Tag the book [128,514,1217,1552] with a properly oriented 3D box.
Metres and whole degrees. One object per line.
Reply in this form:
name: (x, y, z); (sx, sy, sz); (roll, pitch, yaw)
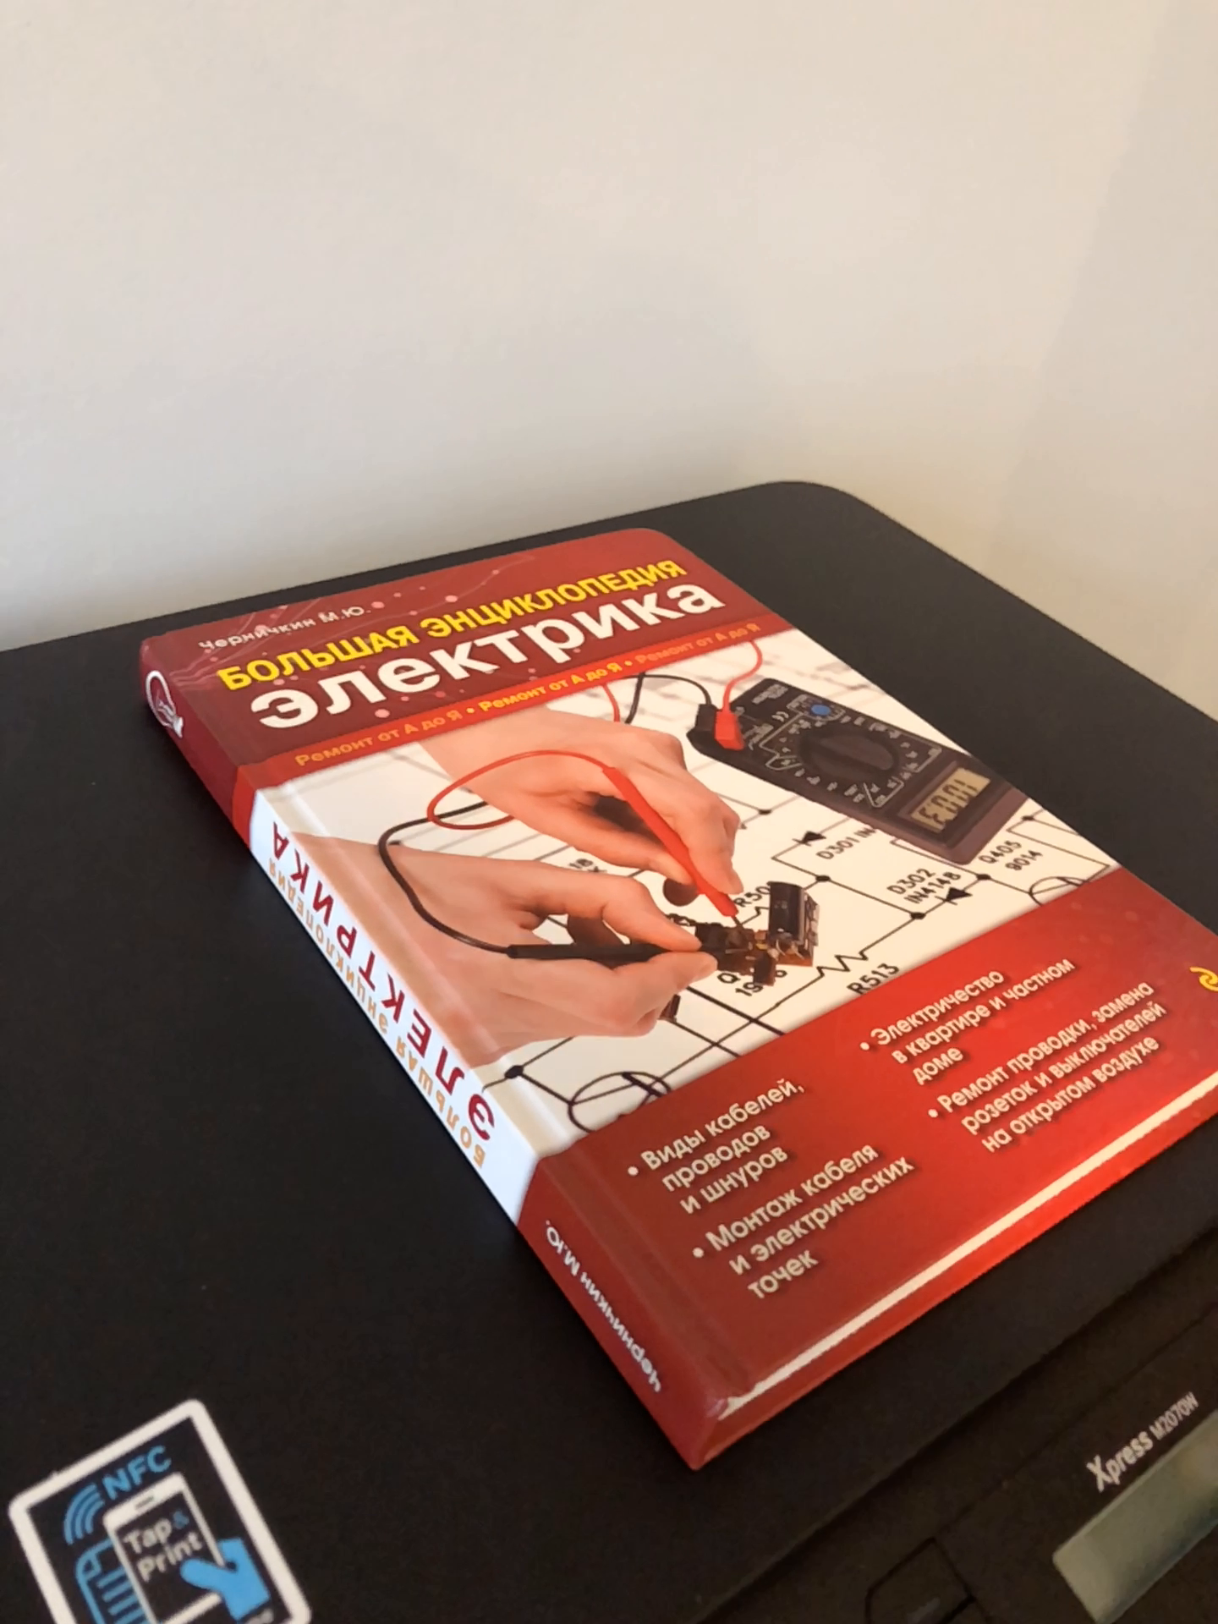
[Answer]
book: (0.014, 0.013, 0.324); (0.171, 0.040, 0.241); (-19, 46, -31)
